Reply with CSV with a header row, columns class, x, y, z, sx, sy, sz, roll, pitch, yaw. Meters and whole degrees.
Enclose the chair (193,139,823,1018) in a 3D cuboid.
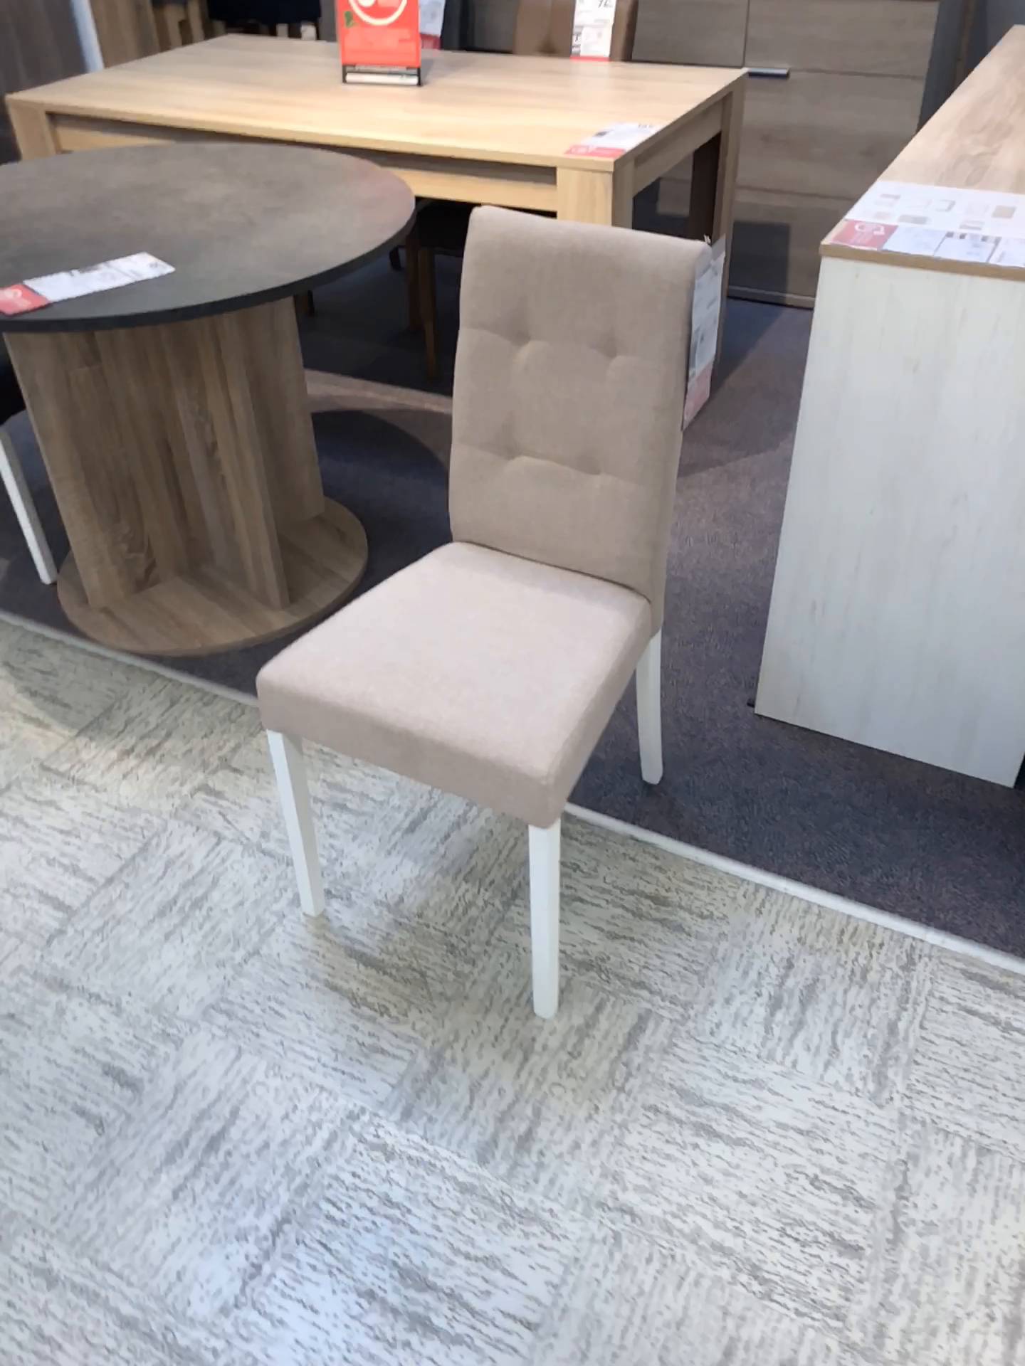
class,x,y,z,sx,sy,sz,roll,pitch,yaw
chair,0.036,-0.130,1.381,0.430,0.855,0.533,17,42,23
